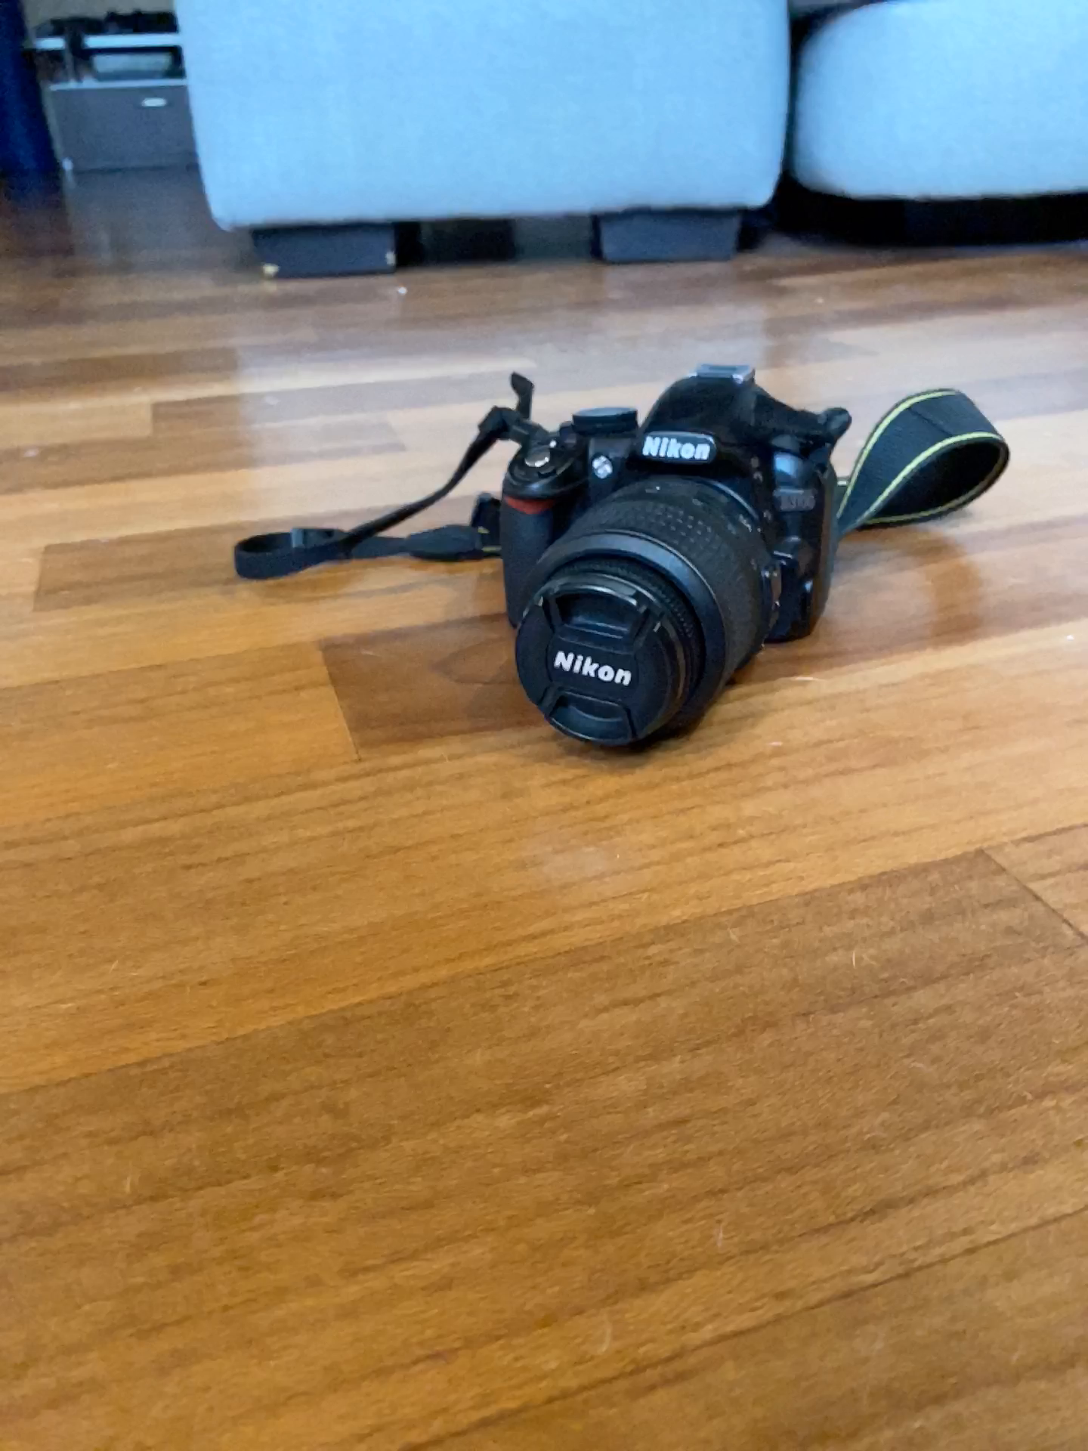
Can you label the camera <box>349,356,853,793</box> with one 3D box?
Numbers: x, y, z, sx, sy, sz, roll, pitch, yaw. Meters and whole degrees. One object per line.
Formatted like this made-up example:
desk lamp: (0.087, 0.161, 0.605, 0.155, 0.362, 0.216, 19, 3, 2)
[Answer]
camera: (0.031, -0.066, 0.394, 0.120, 0.090, 0.162, 9, 30, 20)
